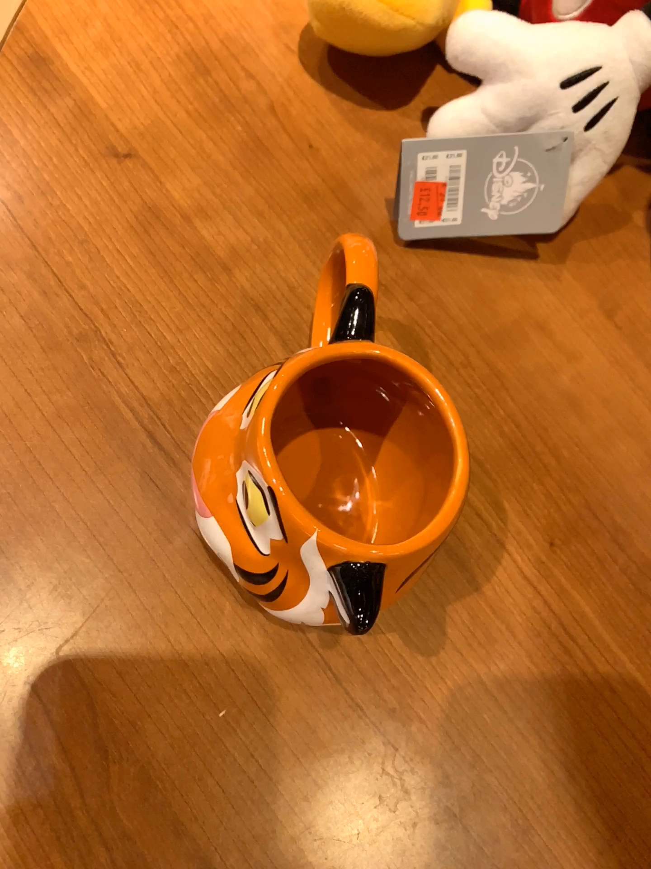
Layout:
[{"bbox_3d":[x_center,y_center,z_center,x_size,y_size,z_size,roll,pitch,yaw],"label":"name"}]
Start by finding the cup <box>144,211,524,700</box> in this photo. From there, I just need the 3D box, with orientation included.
[{"bbox_3d":[-0.005,0.015,0.251,0.106,0.087,0.150,5,70,-16],"label":"cup"}]
